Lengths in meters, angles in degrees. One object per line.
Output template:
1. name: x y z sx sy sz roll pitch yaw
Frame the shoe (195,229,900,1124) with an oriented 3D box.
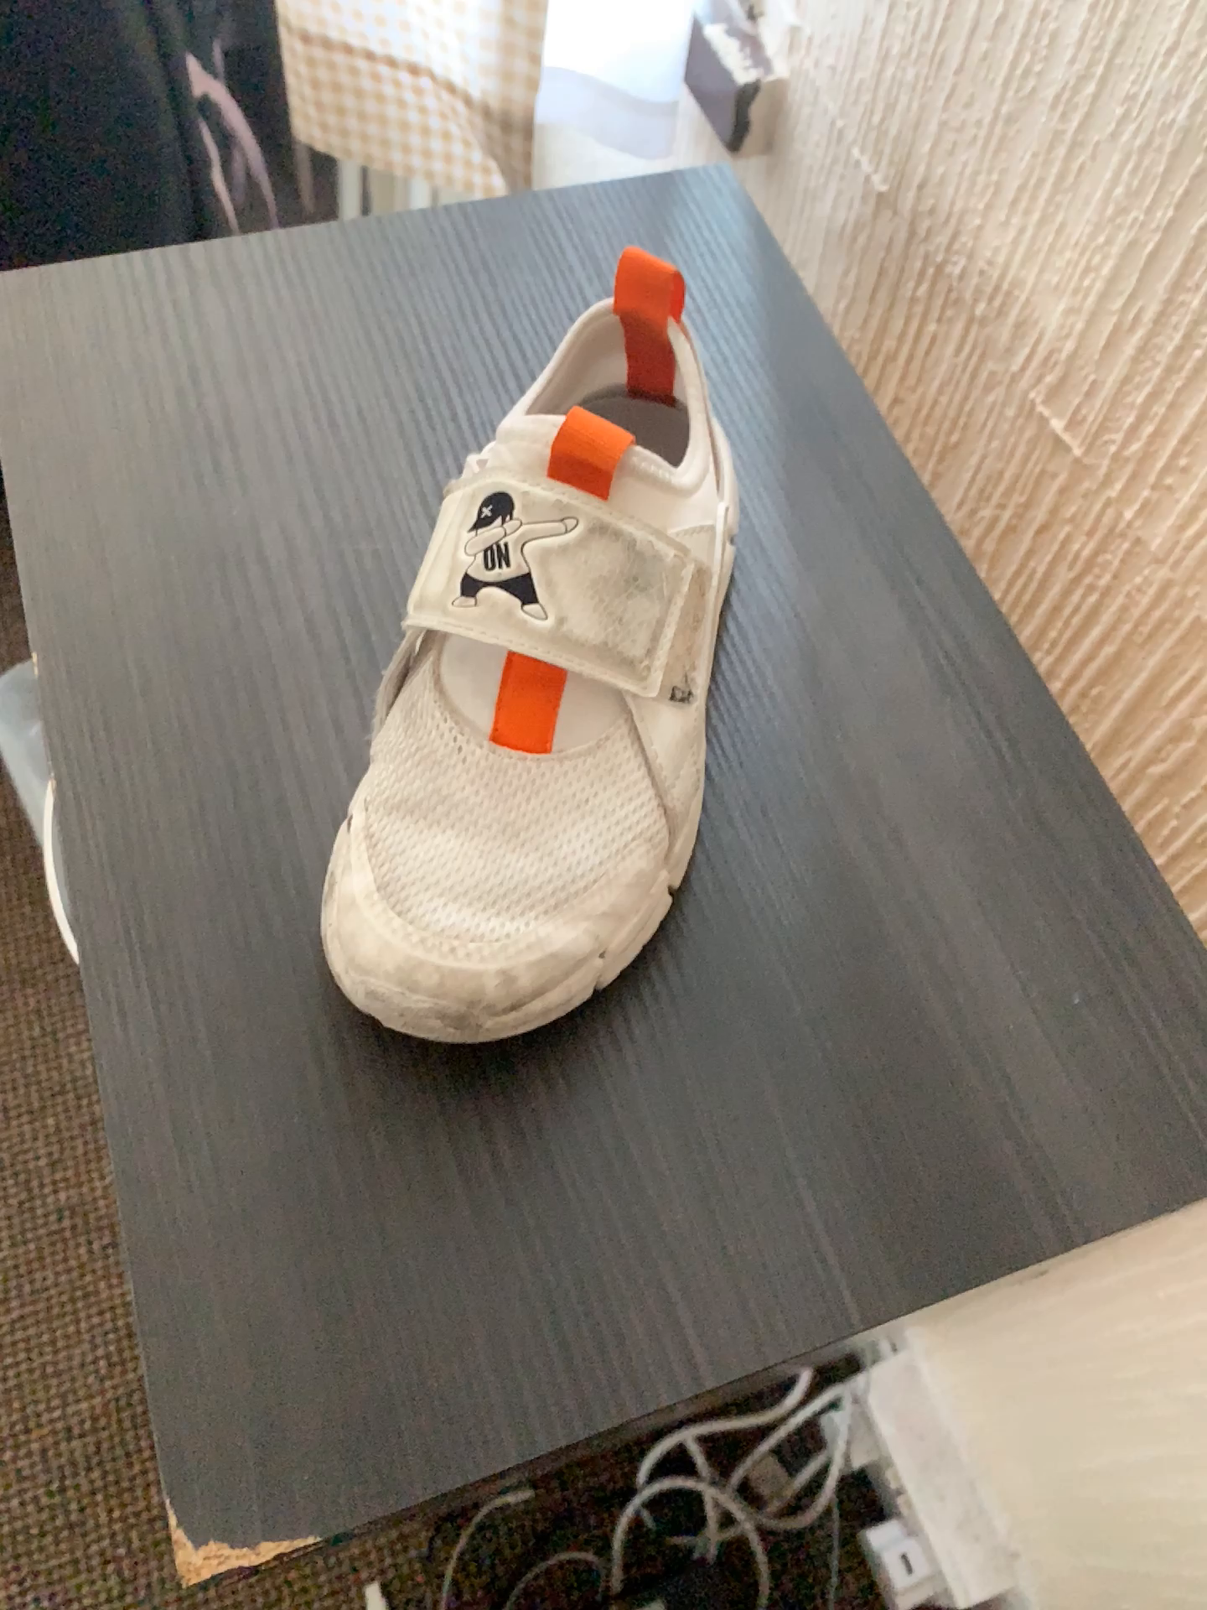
1. shoe: -0.002 -0.045 0.336 0.100 0.070 0.223 19 61 6
